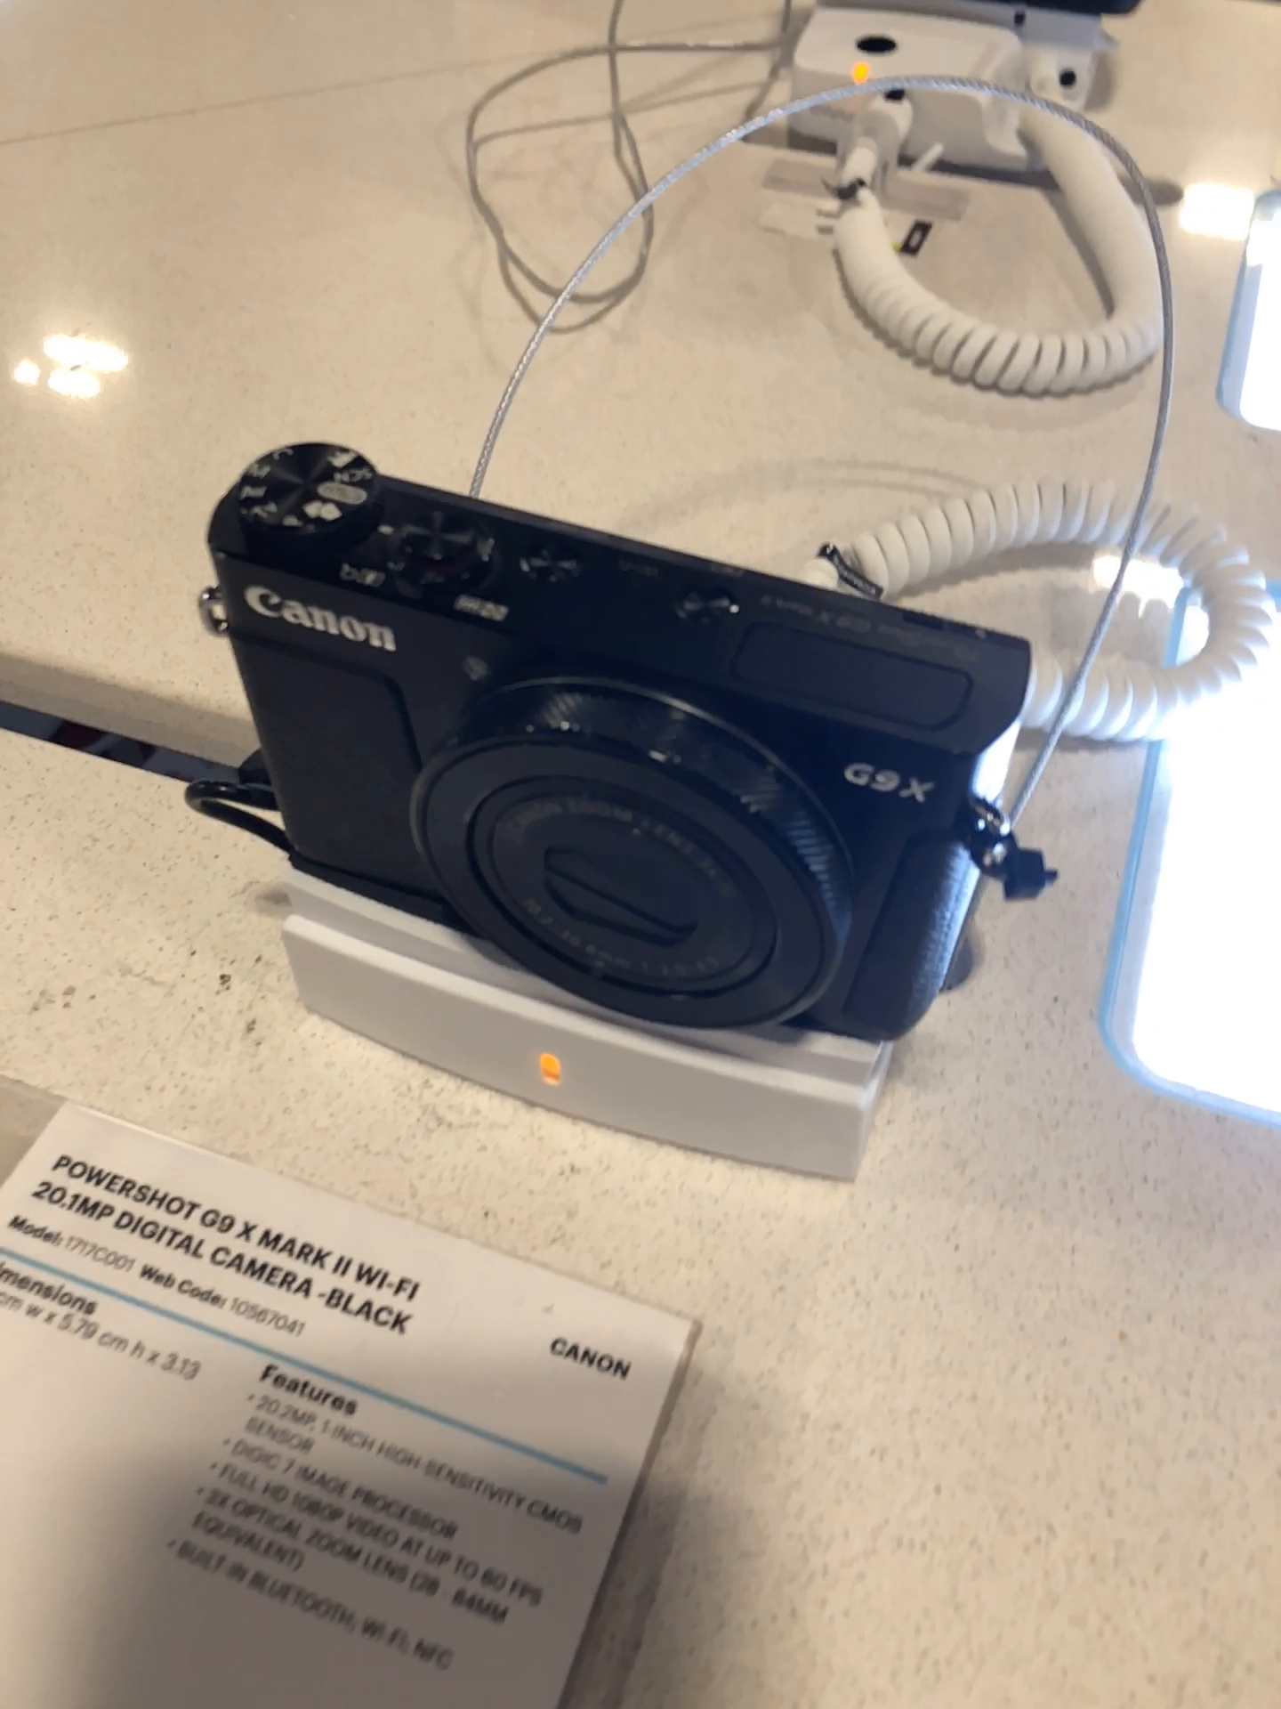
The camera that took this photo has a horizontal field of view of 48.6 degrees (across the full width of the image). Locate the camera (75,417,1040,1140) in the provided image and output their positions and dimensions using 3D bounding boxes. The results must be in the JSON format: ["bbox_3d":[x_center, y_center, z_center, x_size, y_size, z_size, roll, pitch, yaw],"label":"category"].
[{"bbox_3d":[-0.010,-0.009,0.175,0.100,0.060,0.030,17,51,14],"label":"camera"}]
